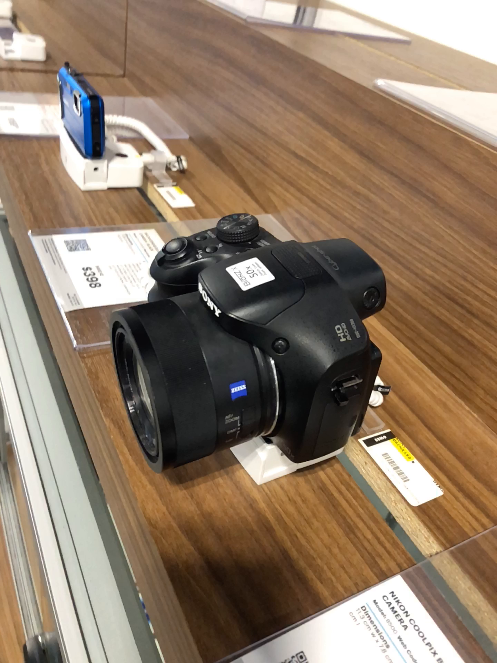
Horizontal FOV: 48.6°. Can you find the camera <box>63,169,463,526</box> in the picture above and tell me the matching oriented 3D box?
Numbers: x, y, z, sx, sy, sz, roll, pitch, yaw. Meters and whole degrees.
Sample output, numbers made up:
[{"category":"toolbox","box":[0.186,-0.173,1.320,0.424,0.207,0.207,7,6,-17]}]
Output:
[{"category":"camera","box":[-0.006,-0.008,0.265,0.130,0.089,0.131,-11,42,-30]}]
